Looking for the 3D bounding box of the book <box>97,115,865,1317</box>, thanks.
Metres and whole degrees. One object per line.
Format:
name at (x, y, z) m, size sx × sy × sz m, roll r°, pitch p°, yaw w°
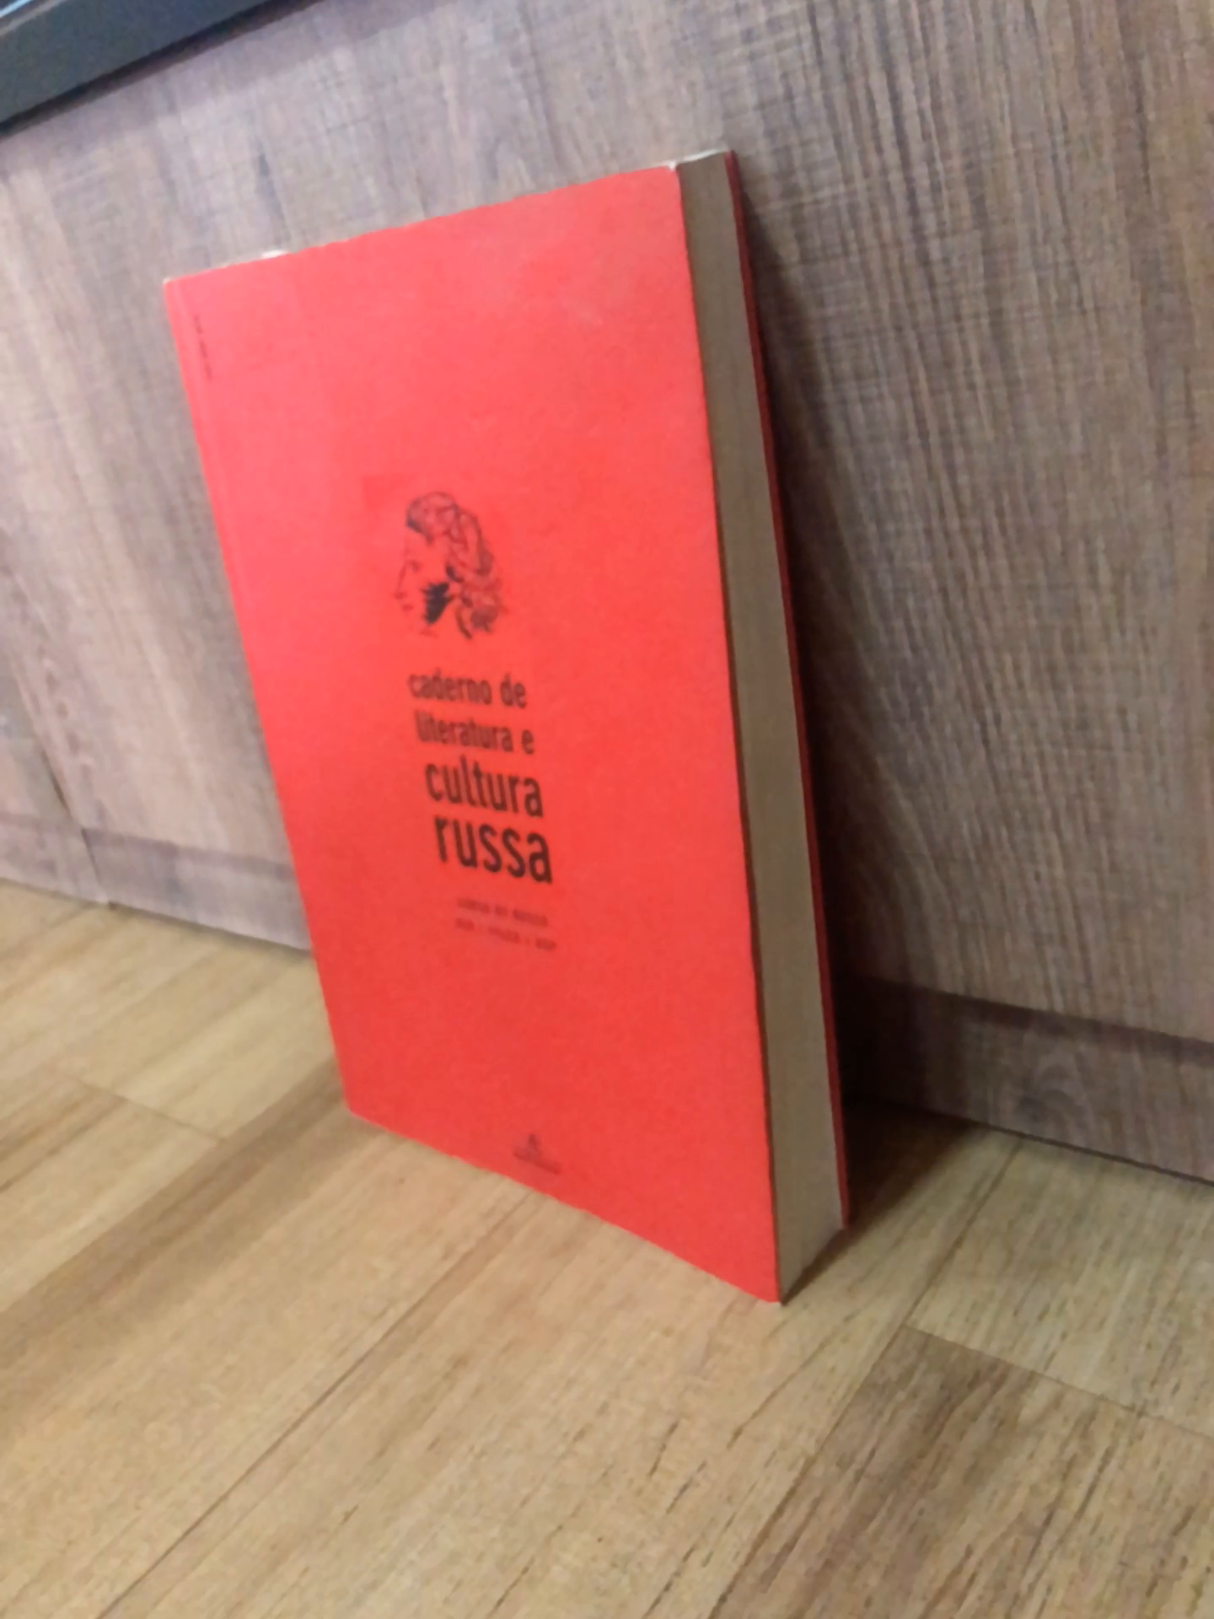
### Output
book at (-0.036, -0.020, 0.347) m, size 0.188 × 0.249 × 0.040 m, roll 9°, pitch 24°, yaw 42°
